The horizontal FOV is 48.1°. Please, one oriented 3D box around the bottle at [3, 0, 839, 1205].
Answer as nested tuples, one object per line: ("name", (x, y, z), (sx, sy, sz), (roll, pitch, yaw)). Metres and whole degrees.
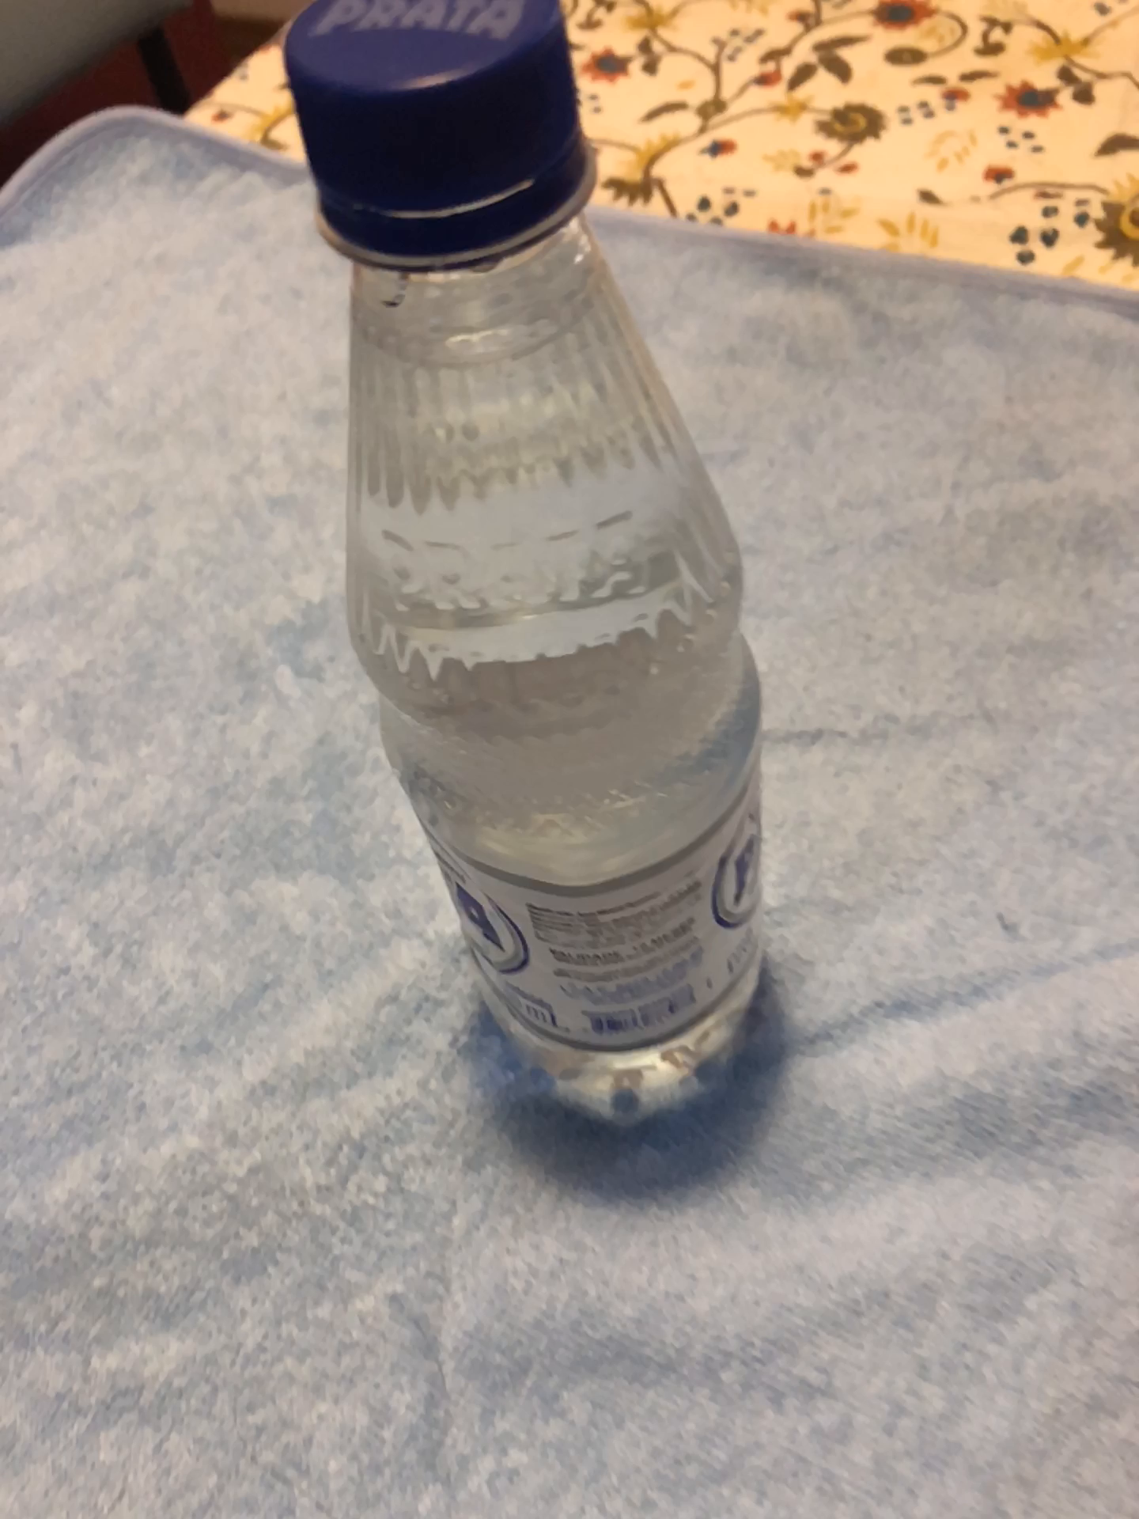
("bottle", (-0.003, -0.005, 0.216), (0.070, 0.219, 0.081), (-11, 53, 2))
